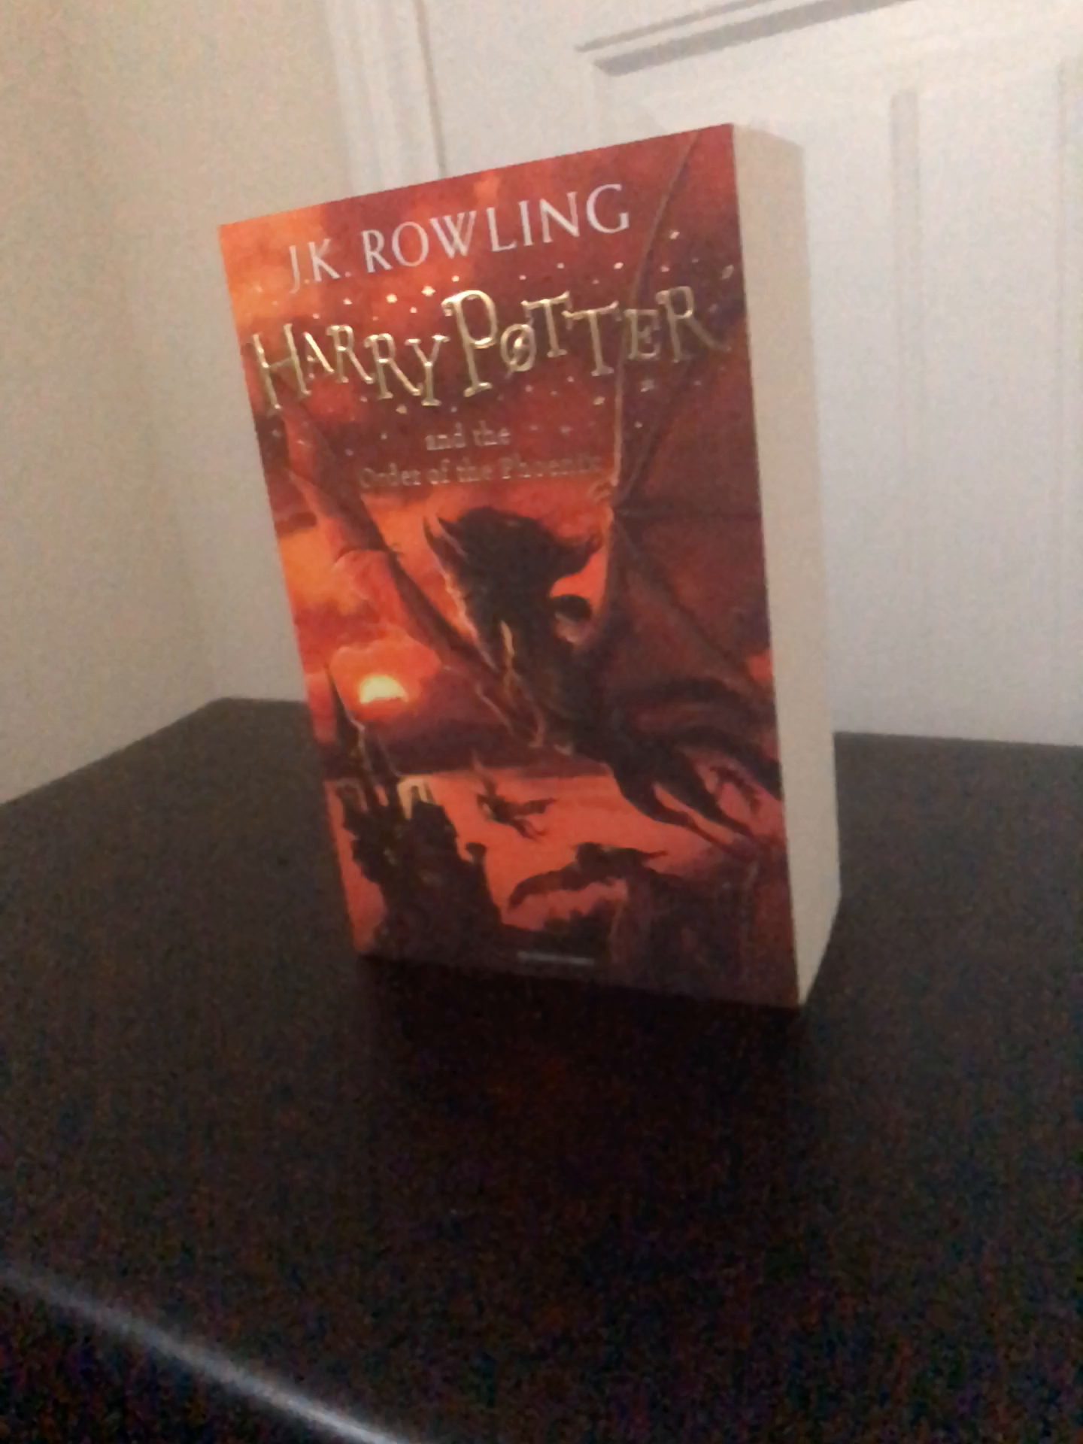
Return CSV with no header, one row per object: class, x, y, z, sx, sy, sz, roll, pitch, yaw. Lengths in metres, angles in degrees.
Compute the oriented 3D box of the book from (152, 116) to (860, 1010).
book,-0.001,-0.034,0.305,0.141,0.189,0.061,1,21,24
